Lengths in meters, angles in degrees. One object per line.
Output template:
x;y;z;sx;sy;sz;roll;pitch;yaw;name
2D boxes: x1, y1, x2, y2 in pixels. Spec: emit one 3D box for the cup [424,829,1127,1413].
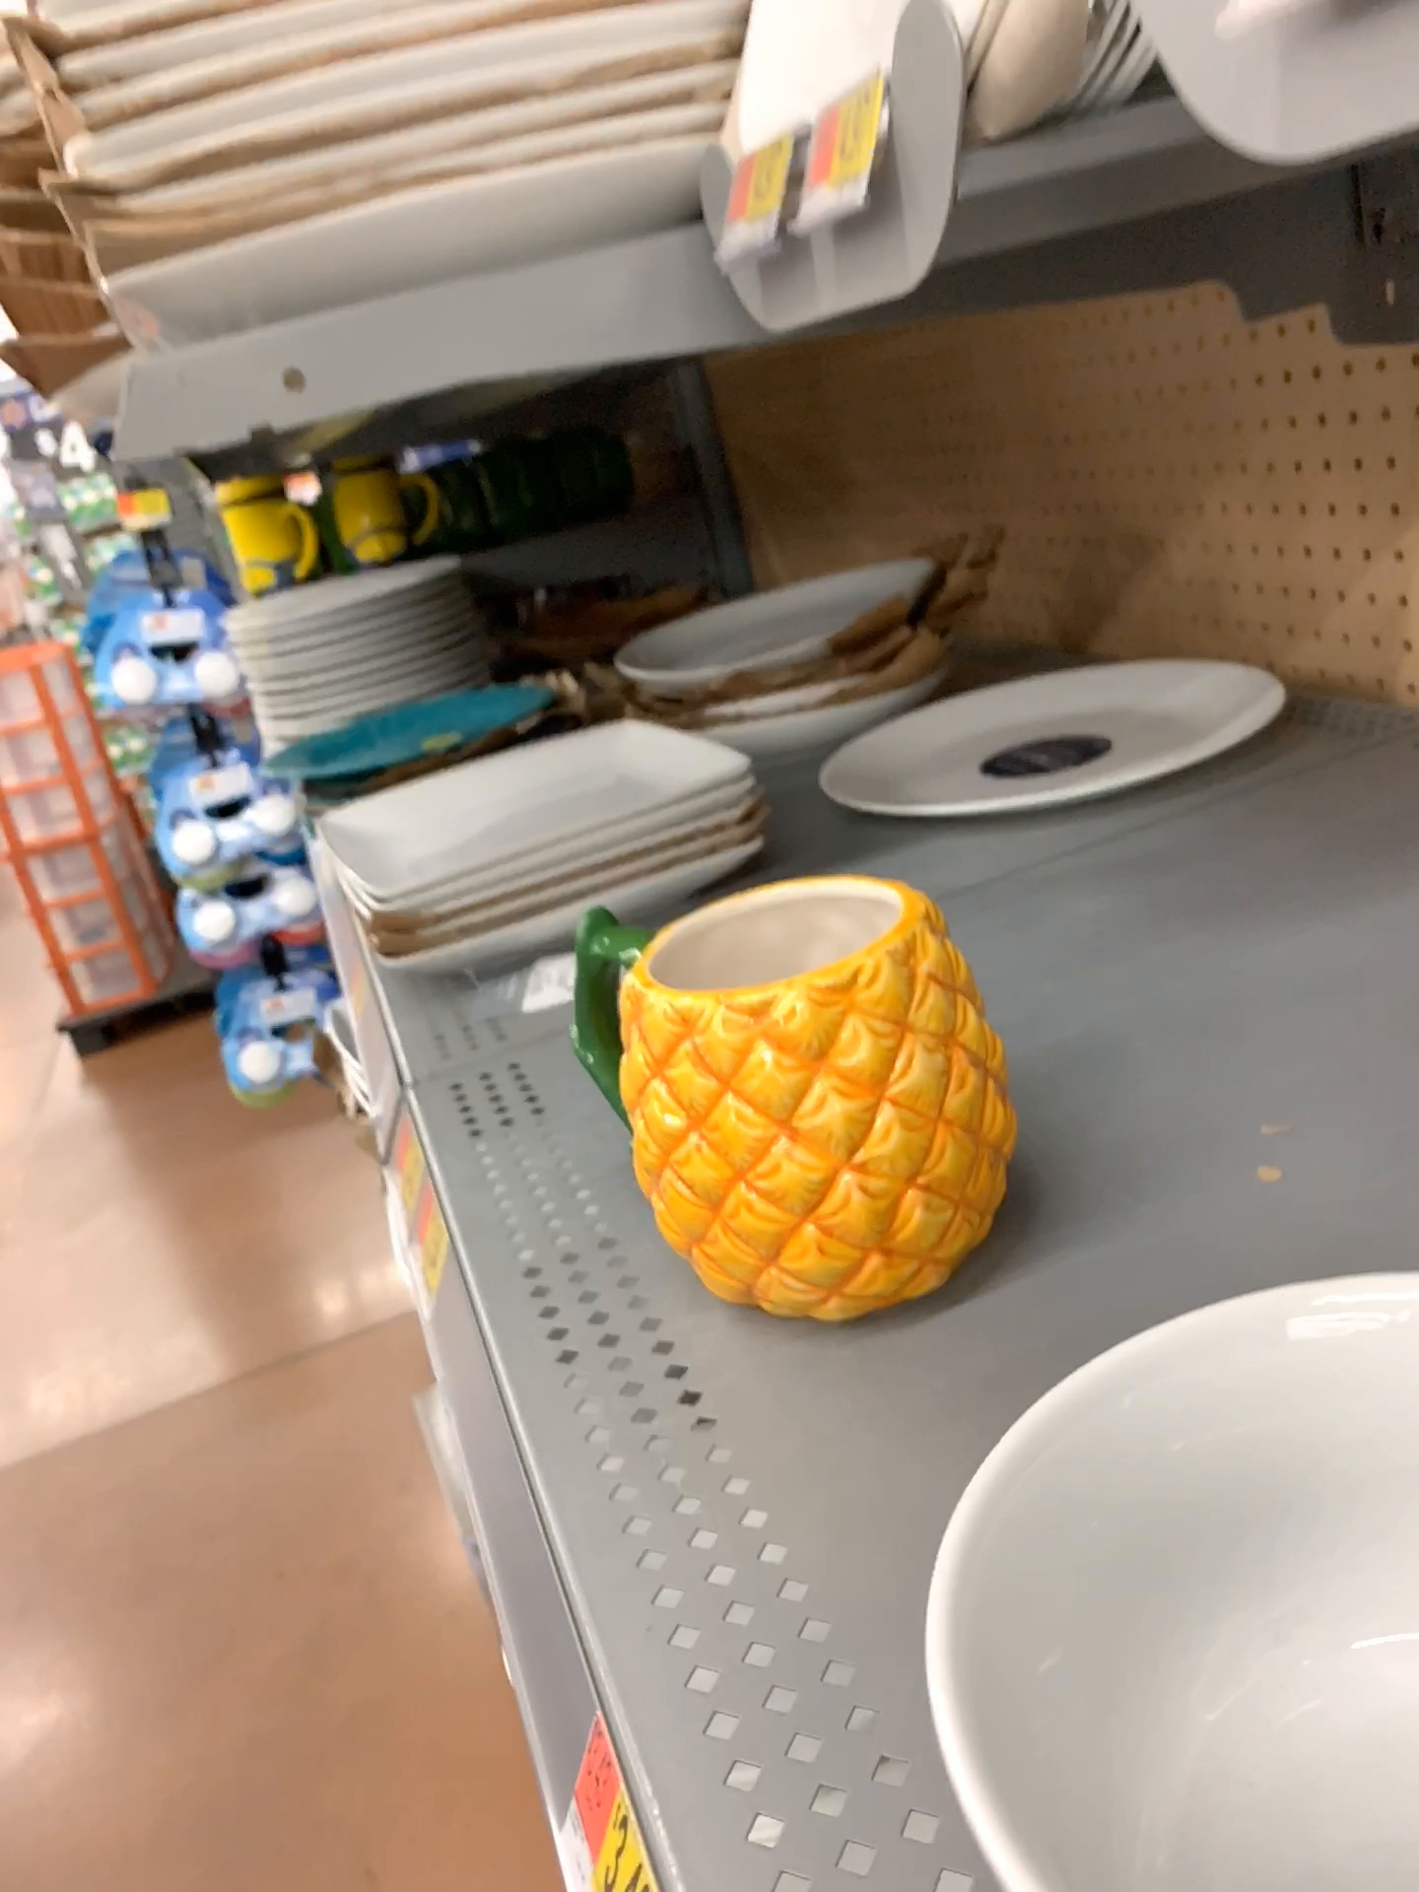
0.015;0.036;0.422;0.100;0.100;0.160;-29;24;-34;cup
